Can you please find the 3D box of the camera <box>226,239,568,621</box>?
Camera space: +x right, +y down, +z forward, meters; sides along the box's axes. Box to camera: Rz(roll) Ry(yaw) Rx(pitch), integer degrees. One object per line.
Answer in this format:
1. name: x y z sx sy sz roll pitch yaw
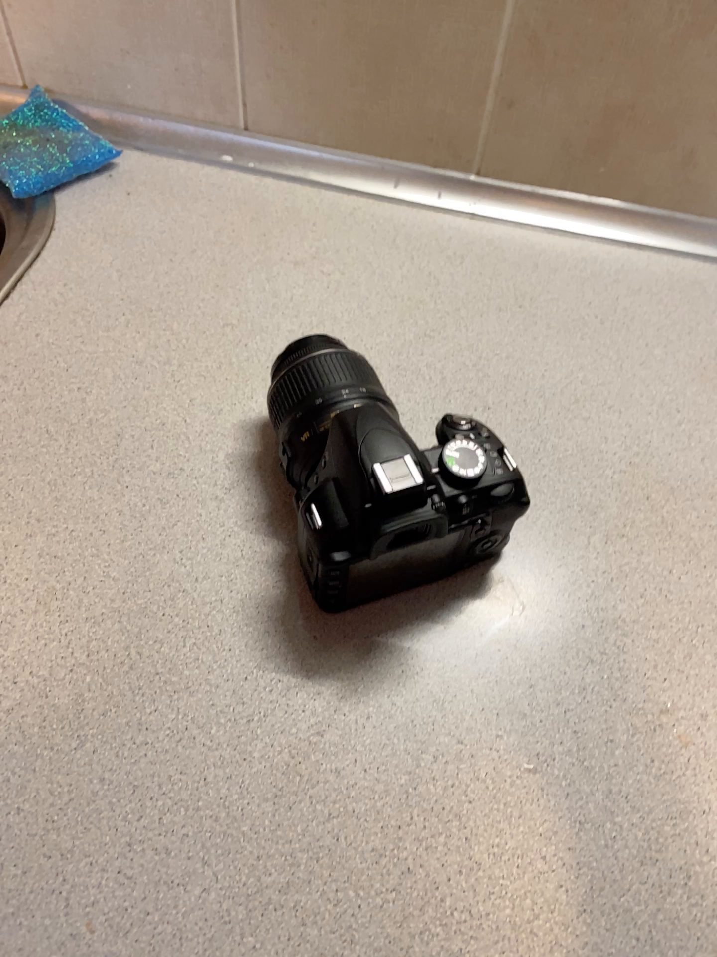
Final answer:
1. camera: 0.010 -0.034 0.422 0.122 0.091 0.178 -15 58 -14
